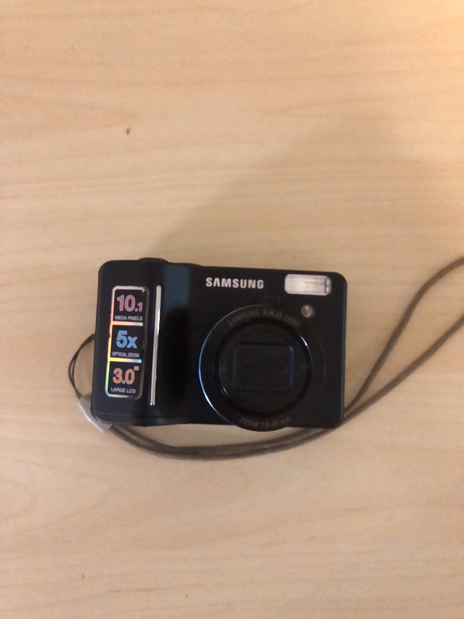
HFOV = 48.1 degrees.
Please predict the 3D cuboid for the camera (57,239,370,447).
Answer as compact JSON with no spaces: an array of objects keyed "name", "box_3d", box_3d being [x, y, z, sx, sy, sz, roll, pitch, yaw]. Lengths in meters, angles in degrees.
[{"name":"camera","box_3d":[-0.006,0.013,0.204,0.110,0.030,0.070,3,85,0]}]
